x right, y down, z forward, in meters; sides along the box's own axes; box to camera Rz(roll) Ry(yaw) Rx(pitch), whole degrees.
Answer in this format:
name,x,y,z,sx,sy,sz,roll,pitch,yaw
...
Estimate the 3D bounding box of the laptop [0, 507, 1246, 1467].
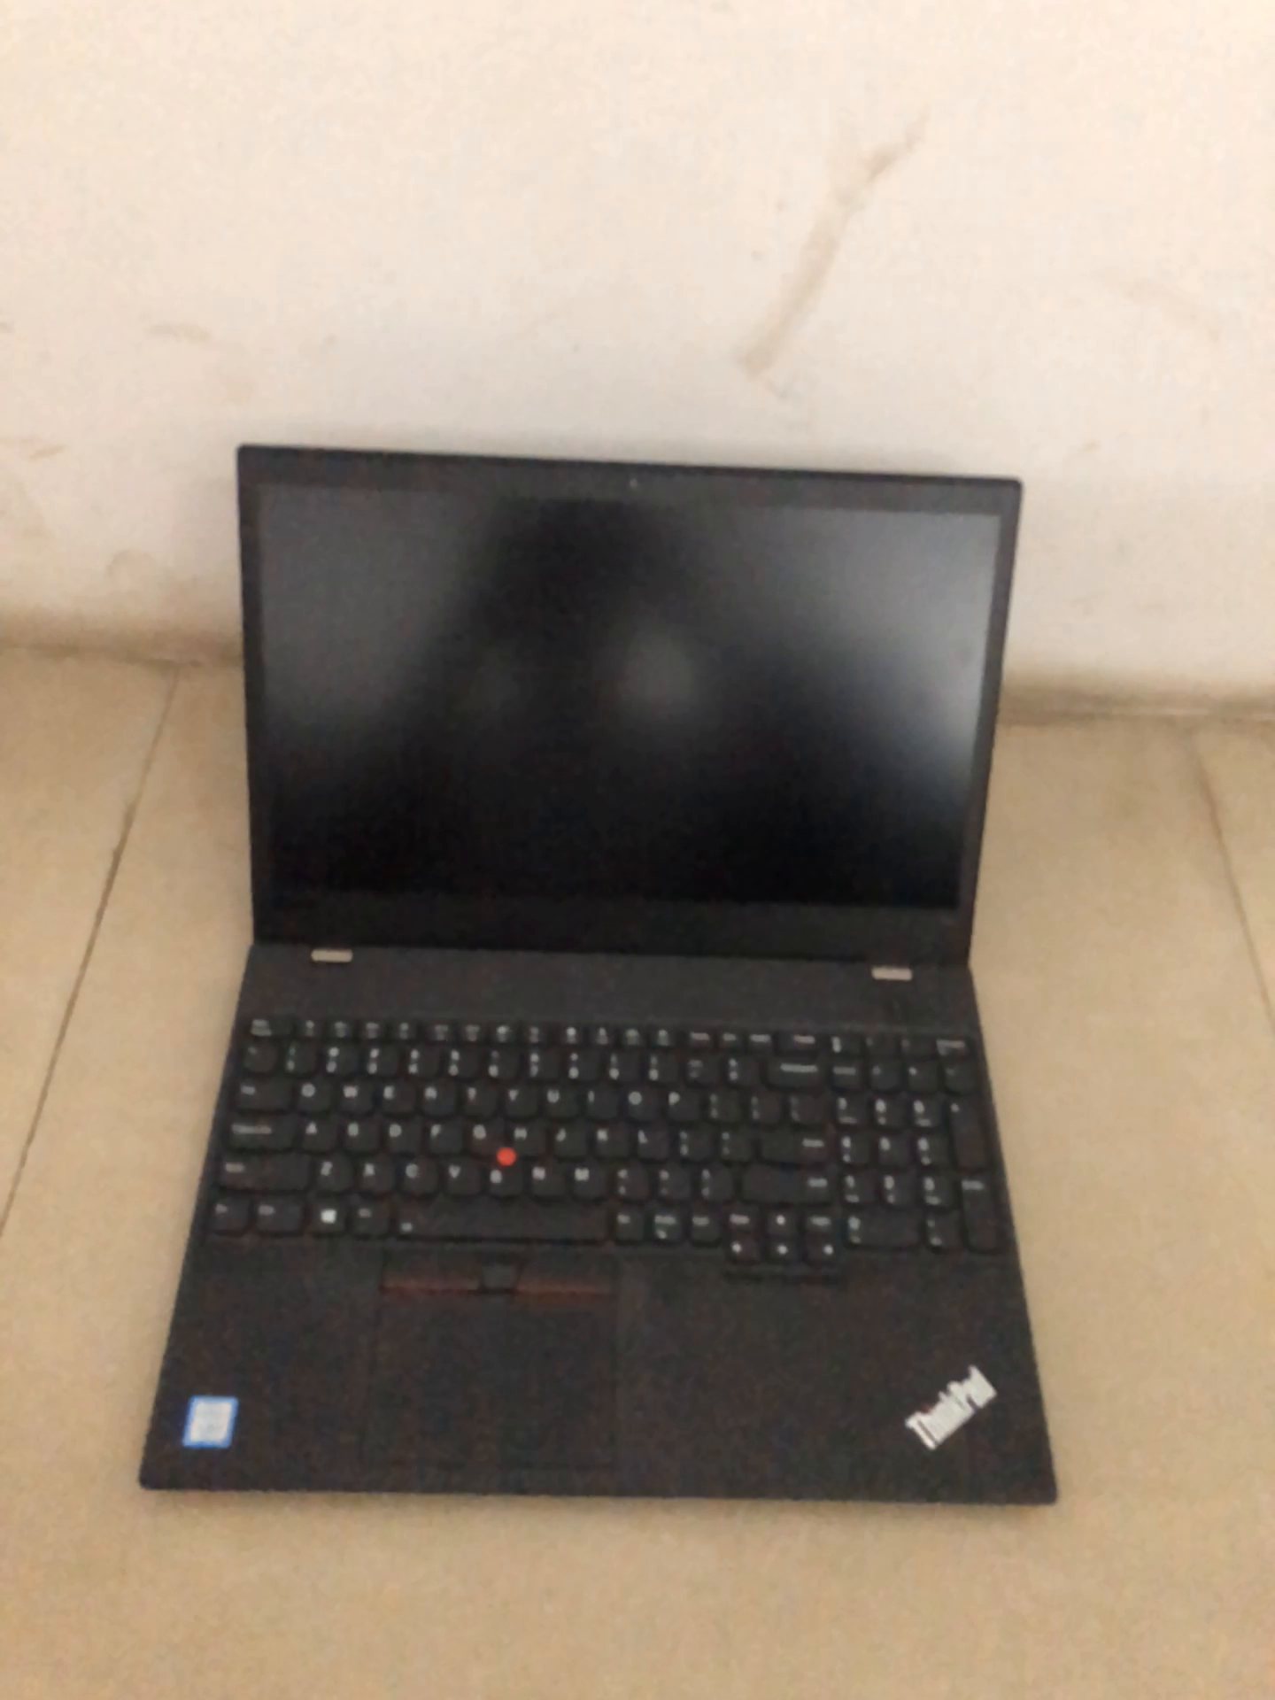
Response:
name,x,y,z,sx,sy,sz,roll,pitch,yaw
laptop,-0.012,0.045,0.579,0.344,0.192,0.364,2,48,-4
